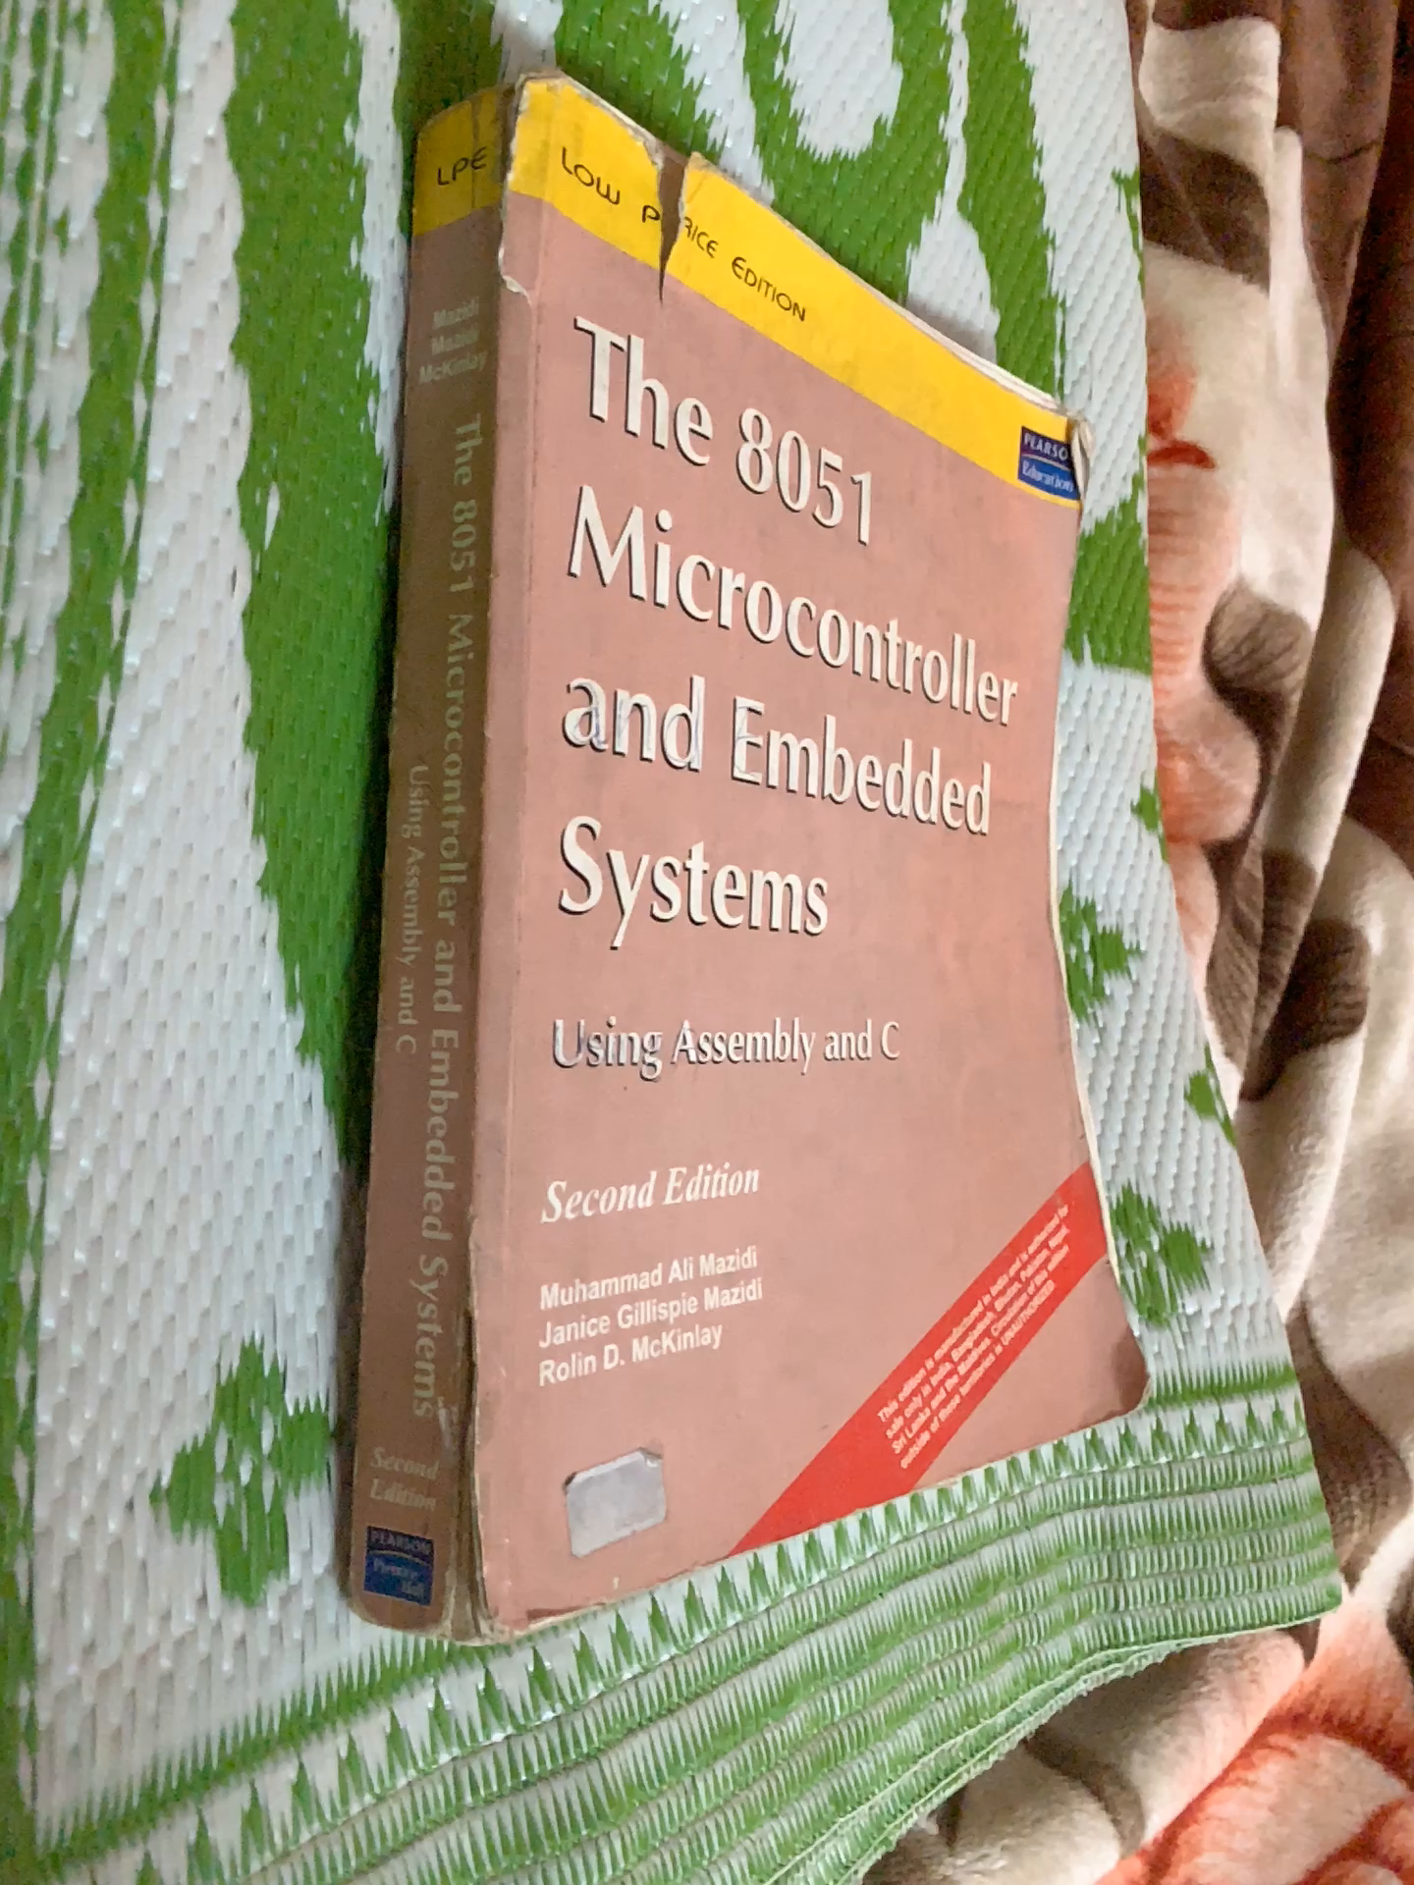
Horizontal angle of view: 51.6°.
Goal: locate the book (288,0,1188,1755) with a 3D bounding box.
[{"bbox_3d":[0.028,-0.018,0.334,0.231,0.050,0.300,4,87,-45],"label":"book"}]
